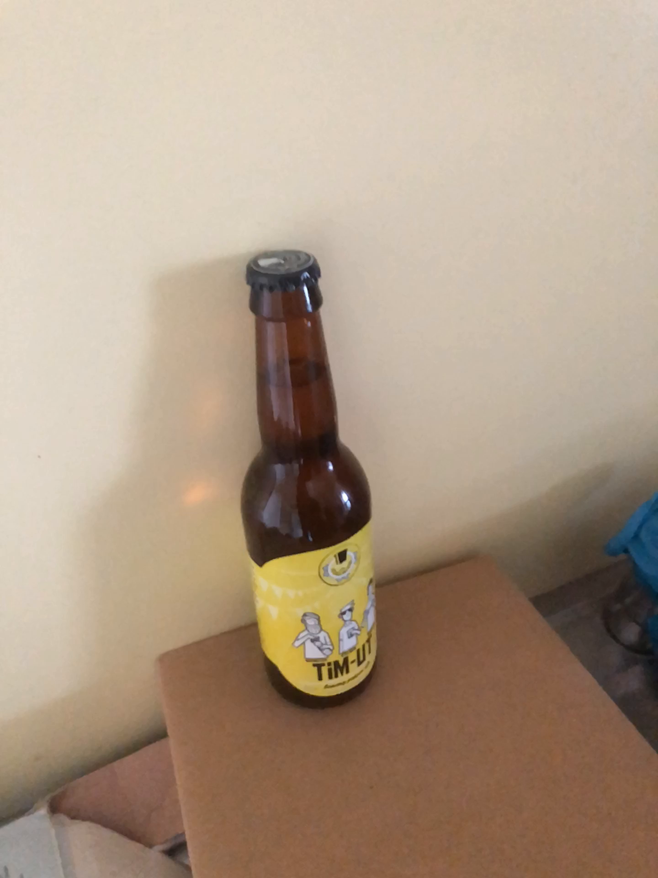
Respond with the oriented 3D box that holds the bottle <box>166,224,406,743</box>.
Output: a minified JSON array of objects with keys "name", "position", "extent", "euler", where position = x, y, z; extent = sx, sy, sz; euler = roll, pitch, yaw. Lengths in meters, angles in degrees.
[{"name":"bottle","position":[-0.012,0.030,0.330],"extent":[0.060,0.229,0.060],"euler":[-5,33,3]}]
